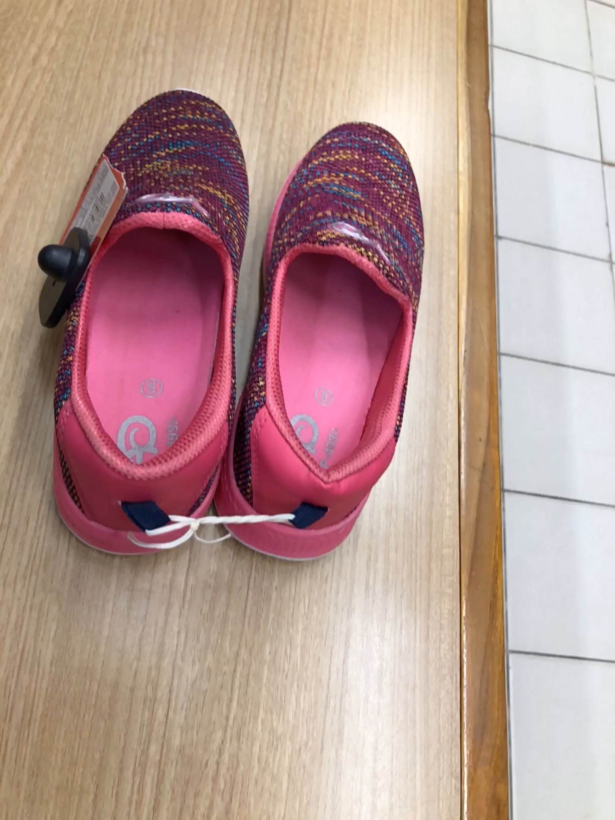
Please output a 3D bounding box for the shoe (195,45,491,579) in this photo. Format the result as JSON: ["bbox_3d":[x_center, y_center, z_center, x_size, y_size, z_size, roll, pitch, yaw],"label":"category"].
[{"bbox_3d":[0.022,-0.054,0.378,0.100,0.100,0.261,15,67,-8],"label":"shoe"}]

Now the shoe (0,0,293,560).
[{"bbox_3d":[-0.067,-0.064,0.330,0.090,0.100,0.251,7,68,-12],"label":"shoe"}]
